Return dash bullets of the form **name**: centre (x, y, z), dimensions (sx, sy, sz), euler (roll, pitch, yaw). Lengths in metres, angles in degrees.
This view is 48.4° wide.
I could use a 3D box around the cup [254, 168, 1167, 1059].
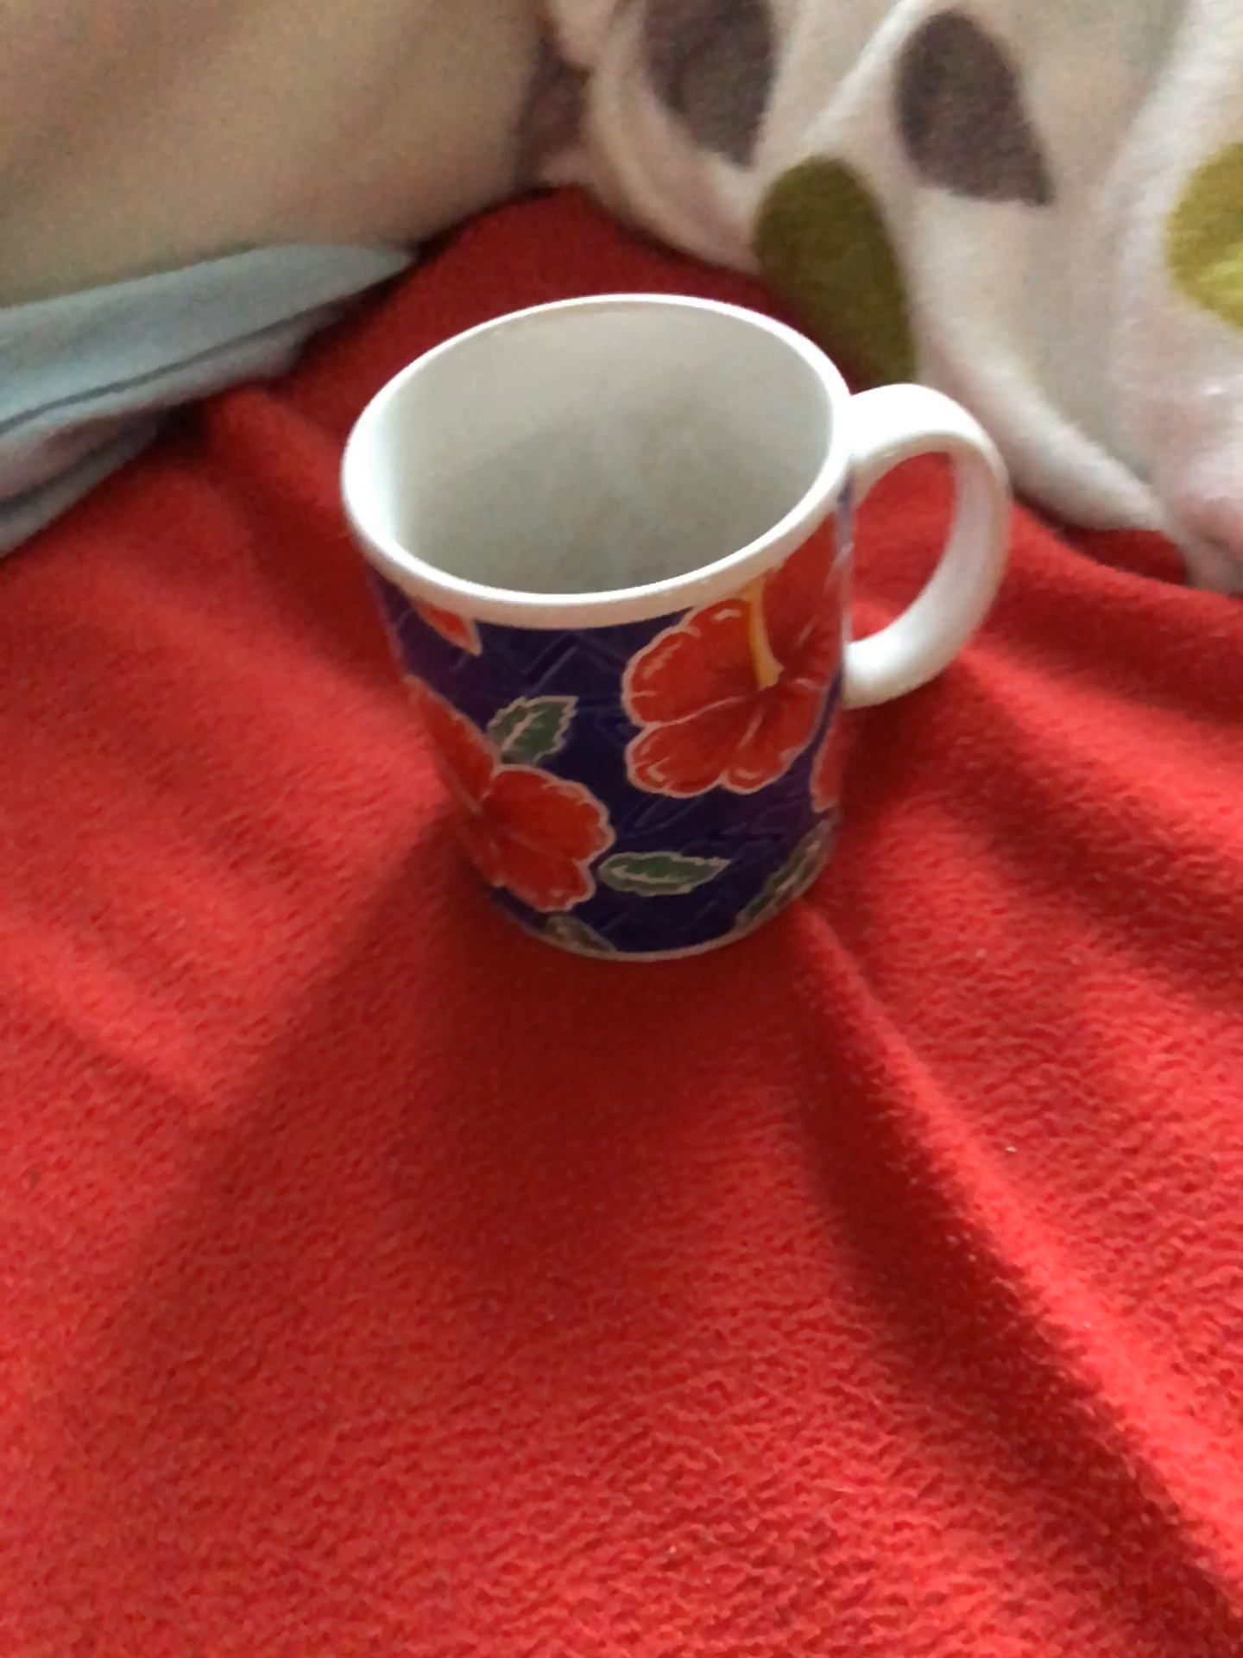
- **cup**: centre (0.015, -0.043, 0.264), dimensions (0.120, 0.100, 0.090), euler (-25, 51, -16)
